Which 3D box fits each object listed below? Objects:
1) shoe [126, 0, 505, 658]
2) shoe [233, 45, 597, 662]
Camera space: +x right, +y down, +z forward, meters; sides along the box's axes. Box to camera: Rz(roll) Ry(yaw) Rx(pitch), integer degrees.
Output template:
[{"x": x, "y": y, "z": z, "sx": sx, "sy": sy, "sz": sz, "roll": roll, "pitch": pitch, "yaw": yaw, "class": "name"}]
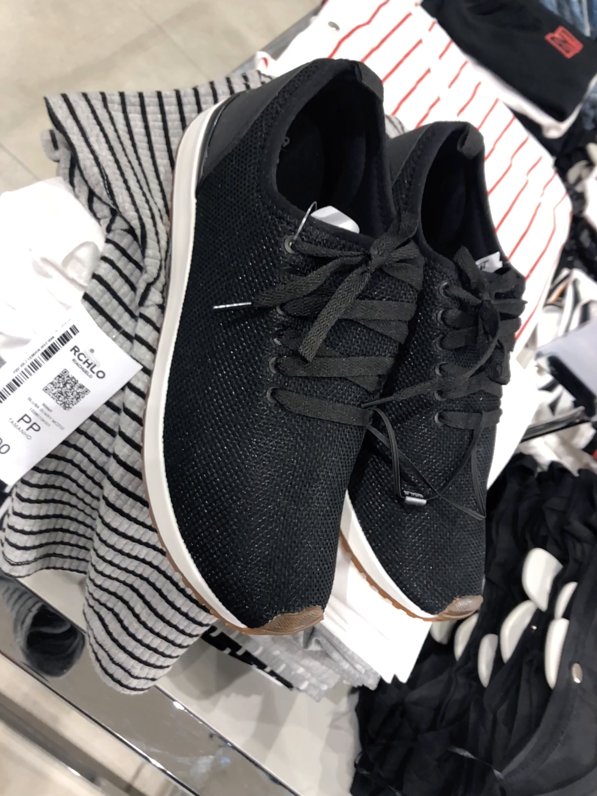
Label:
[{"x": -0.003, "y": -0.032, "z": 0.299, "sx": 0.100, "sy": 0.119, "sz": 0.260, "roll": 8, "pitch": 72, "yaw": -33, "class": "shoe"}, {"x": 0.059, "y": -0.018, "z": 0.348, "sx": 0.101, "sy": 0.119, "sz": 0.270, "roll": 1, "pitch": 69, "yaw": -35, "class": "shoe"}]
